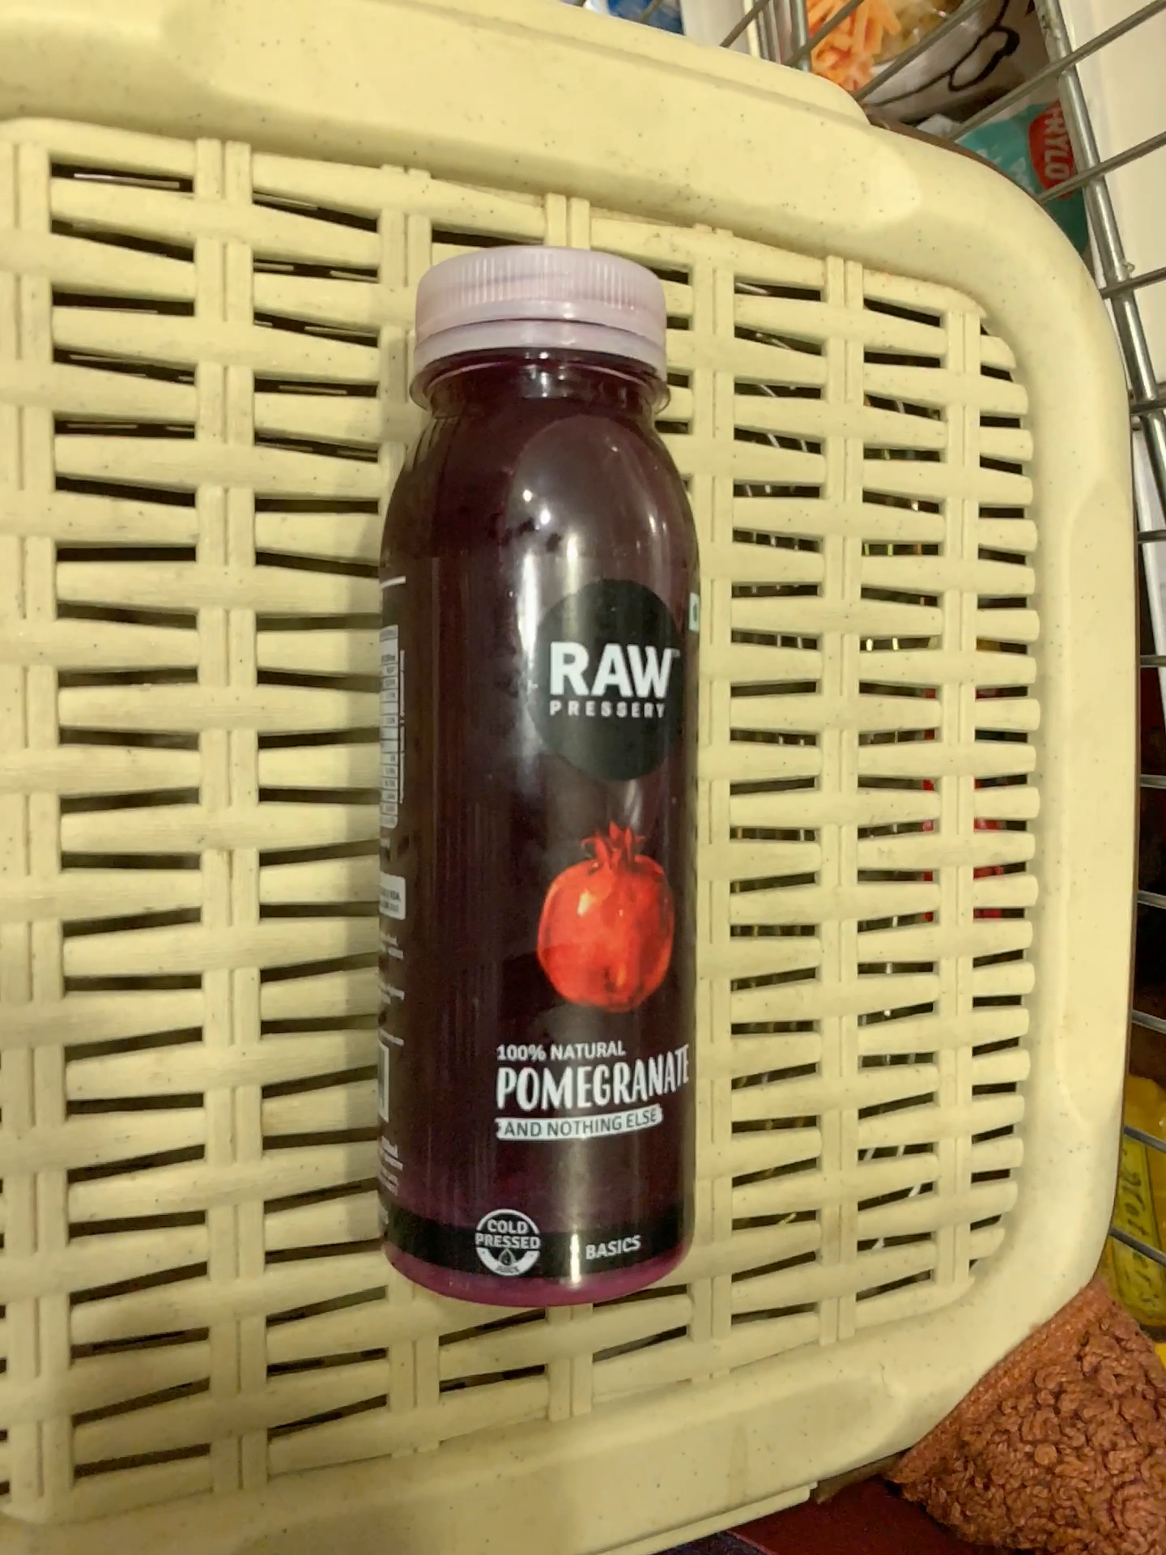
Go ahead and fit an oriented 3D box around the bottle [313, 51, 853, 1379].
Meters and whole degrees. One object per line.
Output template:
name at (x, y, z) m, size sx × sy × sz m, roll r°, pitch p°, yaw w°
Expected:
bottle at (-0.003, -0.007, 0.181) m, size 0.060 × 0.050 × 0.160 m, roll 1°, pitch 93°, yaw -26°
